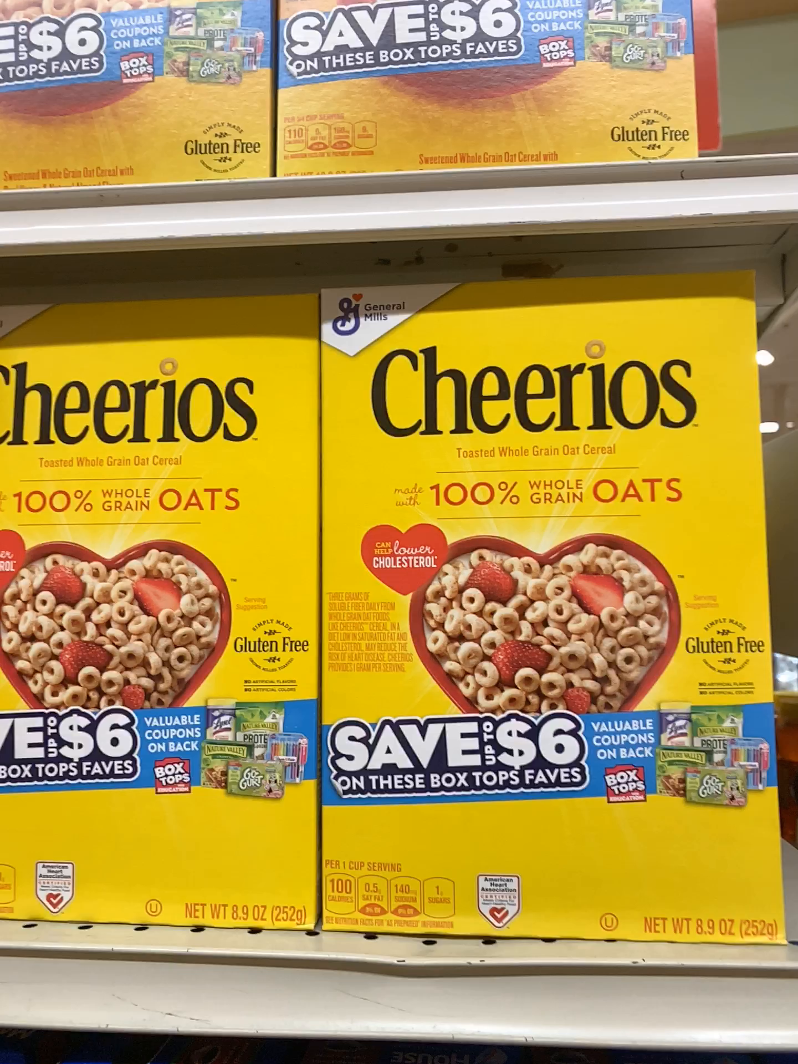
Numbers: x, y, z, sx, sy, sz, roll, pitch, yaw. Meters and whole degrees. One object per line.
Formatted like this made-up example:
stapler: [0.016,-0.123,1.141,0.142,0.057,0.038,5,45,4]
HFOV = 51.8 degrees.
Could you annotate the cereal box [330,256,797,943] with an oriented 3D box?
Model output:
cereal box: [0.069,0.025,0.358,0.190,0.270,0.050,-1,-5,5]
